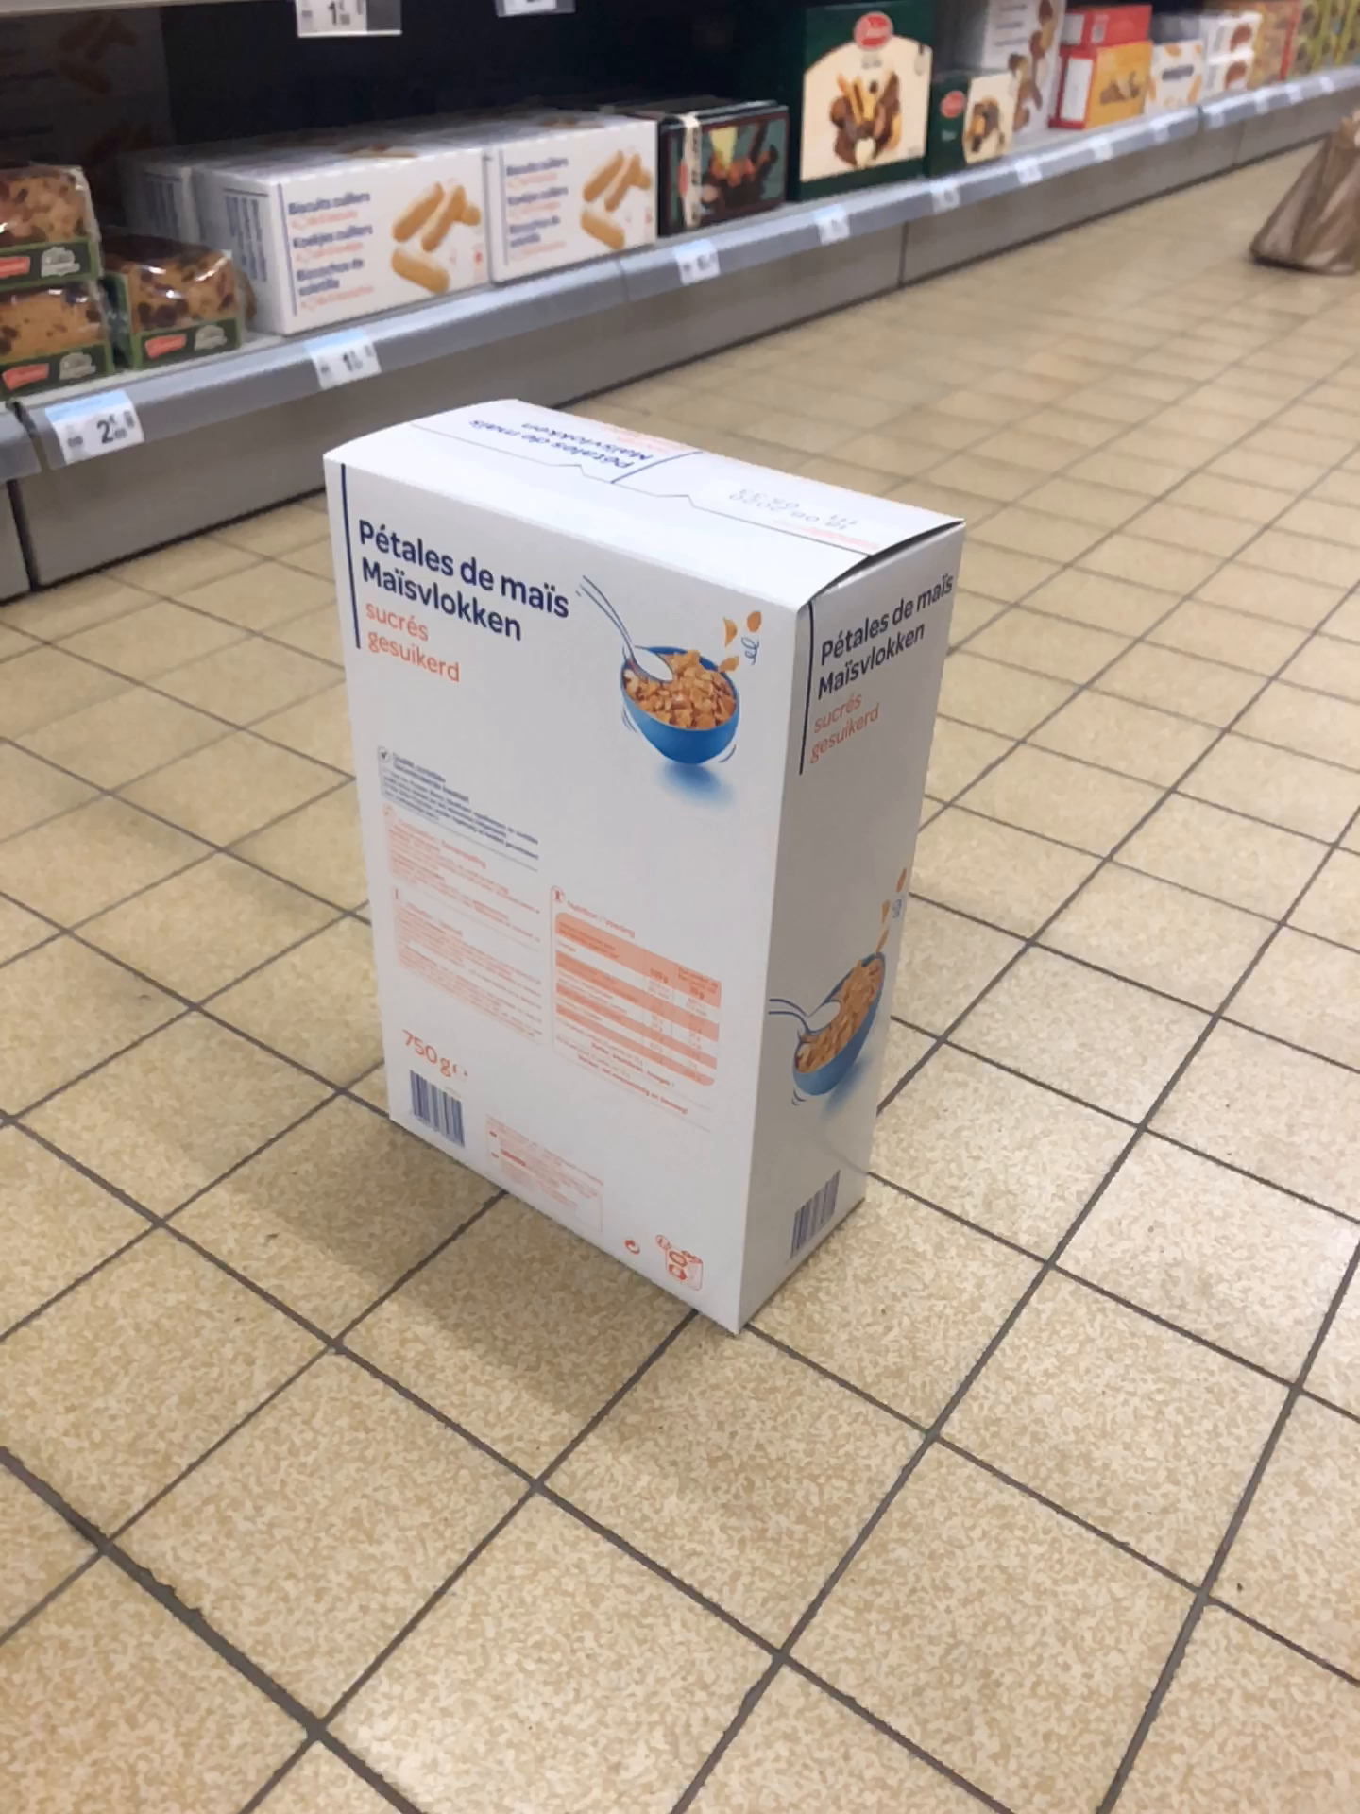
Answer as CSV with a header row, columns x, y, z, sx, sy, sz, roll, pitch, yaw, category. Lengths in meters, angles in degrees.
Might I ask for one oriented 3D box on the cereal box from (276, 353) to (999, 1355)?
x,y,z,sx,sy,sz,roll,pitch,yaw,category
-0.020,-0.020,0.549,0.200,0.298,0.111,24,40,29,cereal box
